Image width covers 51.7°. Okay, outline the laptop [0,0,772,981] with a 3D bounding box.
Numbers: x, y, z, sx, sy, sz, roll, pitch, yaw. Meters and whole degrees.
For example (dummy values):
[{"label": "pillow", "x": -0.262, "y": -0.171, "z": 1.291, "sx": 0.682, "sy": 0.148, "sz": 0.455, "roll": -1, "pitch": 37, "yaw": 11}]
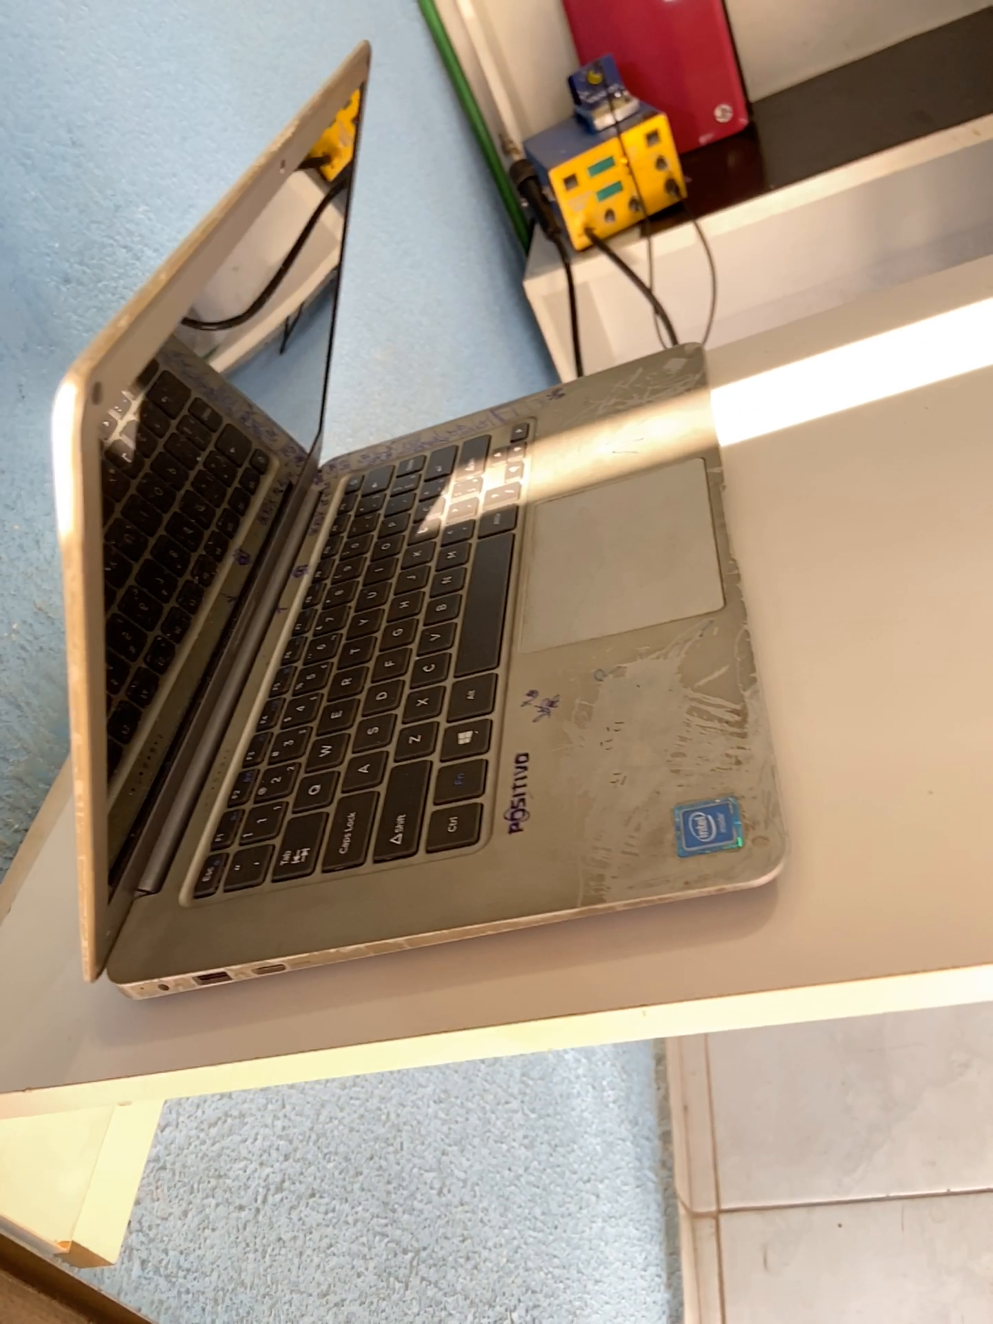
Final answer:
[{"label": "laptop", "x": -0.046, "y": -0.089, "z": 0.372, "sx": 0.211, "sy": 0.167, "sz": 0.328, "roll": -15, "pitch": 37, "yaw": 18}]
